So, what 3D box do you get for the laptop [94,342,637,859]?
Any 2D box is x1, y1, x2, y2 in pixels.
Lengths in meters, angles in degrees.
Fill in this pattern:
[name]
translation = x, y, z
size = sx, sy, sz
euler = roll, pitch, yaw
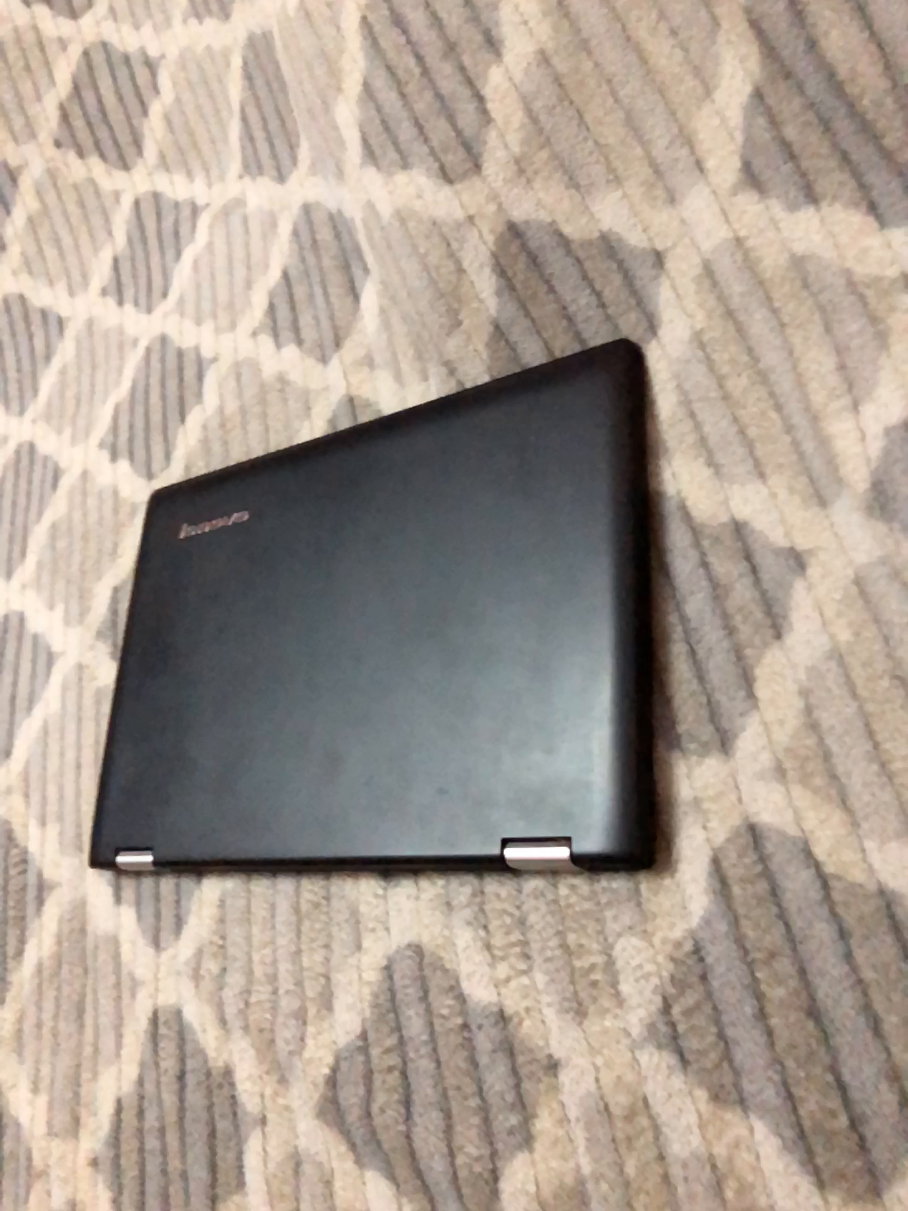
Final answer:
[laptop]
translation = -0.063, 0.013, 0.527
size = 0.340, 0.005, 0.231
euler = -10, 68, 33
